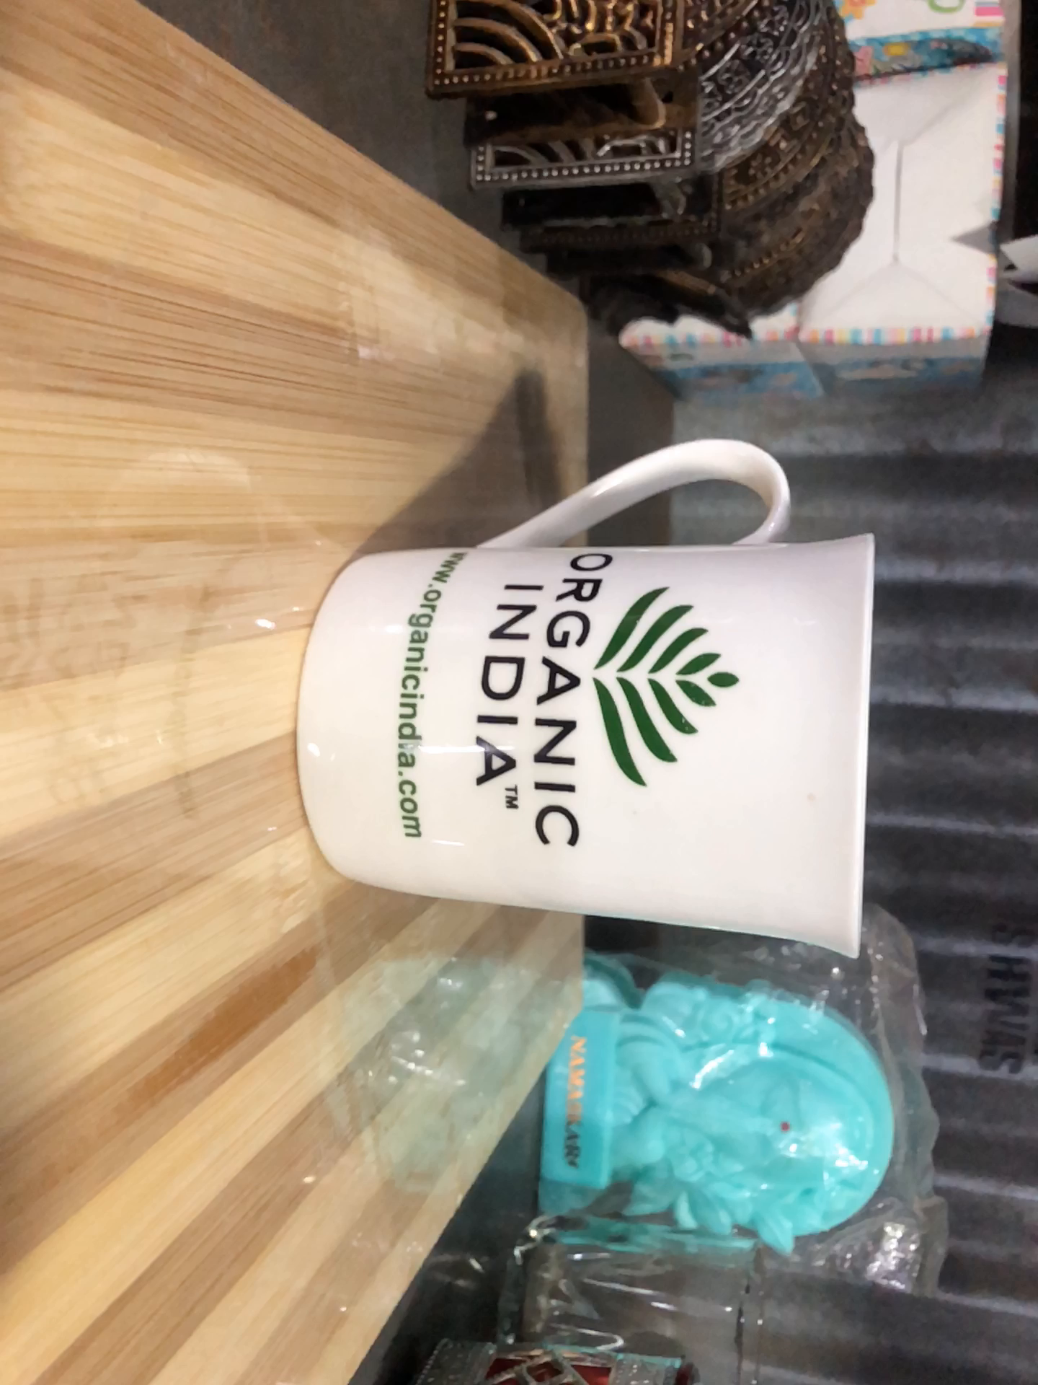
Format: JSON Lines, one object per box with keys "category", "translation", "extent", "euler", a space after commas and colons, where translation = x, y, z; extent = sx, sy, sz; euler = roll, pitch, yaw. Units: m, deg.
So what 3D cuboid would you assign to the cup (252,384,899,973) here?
{"category": "cup", "translation": [0.019, -0.001, 0.246], "extent": [0.070, 0.109, 0.100], "euler": [53, 42, -67]}
